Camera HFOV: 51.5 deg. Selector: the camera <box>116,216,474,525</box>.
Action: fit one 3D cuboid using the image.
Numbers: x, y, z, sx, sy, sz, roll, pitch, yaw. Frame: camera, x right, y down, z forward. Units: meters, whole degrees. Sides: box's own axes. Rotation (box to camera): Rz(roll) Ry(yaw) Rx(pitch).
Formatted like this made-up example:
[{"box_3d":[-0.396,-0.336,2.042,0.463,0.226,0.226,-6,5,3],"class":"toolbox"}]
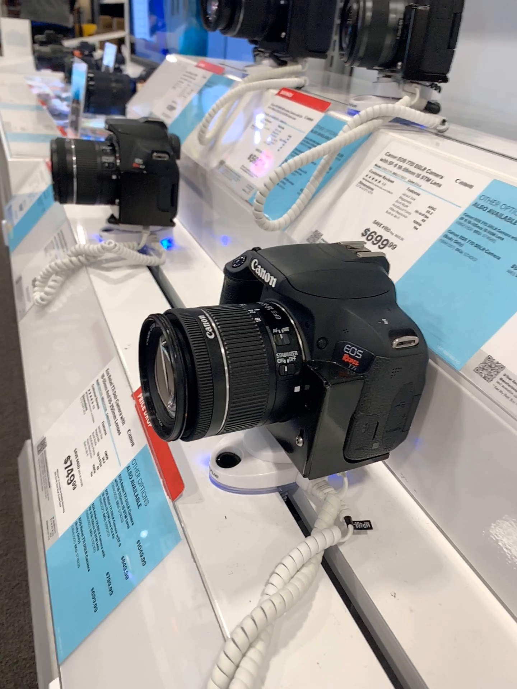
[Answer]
[{"box_3d":[0.007,-0.002,0.298,0.138,0.099,0.131,-8,32,-27],"class":"camera"}]
